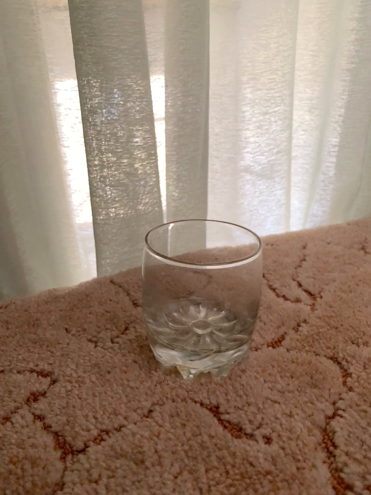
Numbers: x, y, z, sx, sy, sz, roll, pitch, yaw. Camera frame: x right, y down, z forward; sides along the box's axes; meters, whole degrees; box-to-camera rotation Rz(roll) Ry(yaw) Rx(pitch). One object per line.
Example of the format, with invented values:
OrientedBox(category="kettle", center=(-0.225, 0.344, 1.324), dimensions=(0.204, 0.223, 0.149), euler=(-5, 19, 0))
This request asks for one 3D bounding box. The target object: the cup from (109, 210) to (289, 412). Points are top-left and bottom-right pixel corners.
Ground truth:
OrientedBox(category="cup", center=(0.009, 0.035, 0.274), dimensions=(0.080, 0.089, 0.090), euler=(-21, 29, -35))
